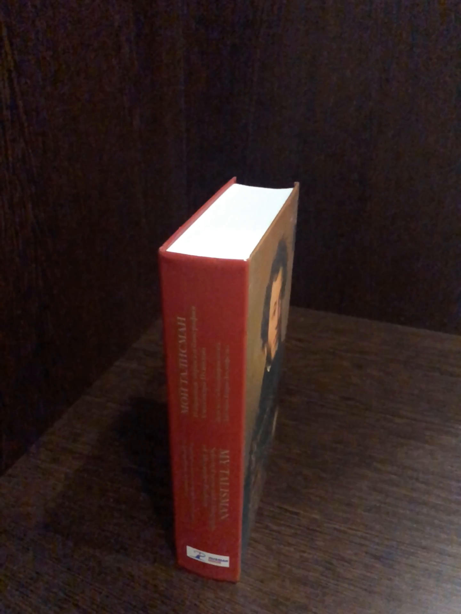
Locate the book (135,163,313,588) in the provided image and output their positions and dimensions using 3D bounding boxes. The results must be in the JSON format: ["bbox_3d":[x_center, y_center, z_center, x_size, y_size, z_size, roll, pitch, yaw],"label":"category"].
[{"bbox_3d":[0.000,0.033,0.305,0.054,0.201,0.138,10,29,12],"label":"book"}]
